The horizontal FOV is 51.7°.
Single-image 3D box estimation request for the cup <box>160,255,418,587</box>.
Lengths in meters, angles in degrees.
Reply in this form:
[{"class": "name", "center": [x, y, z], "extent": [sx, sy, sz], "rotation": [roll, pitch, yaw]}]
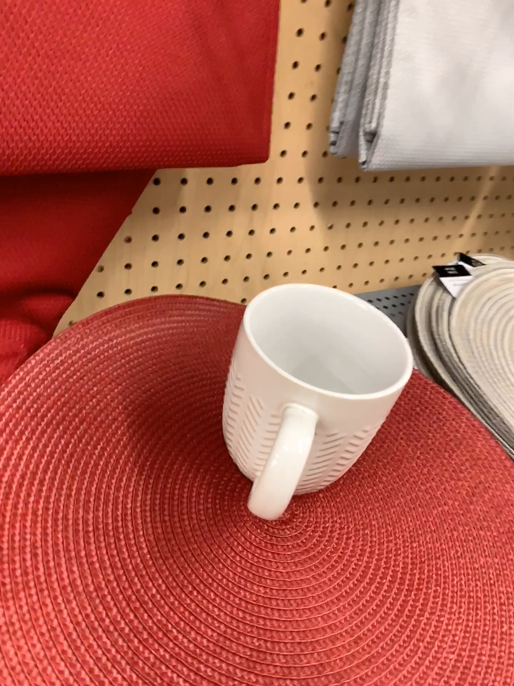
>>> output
[{"class": "cup", "center": [0.025, 0.030, 0.289], "extent": [0.100, 0.089, 0.141], "rotation": [11, 36, 12]}]
